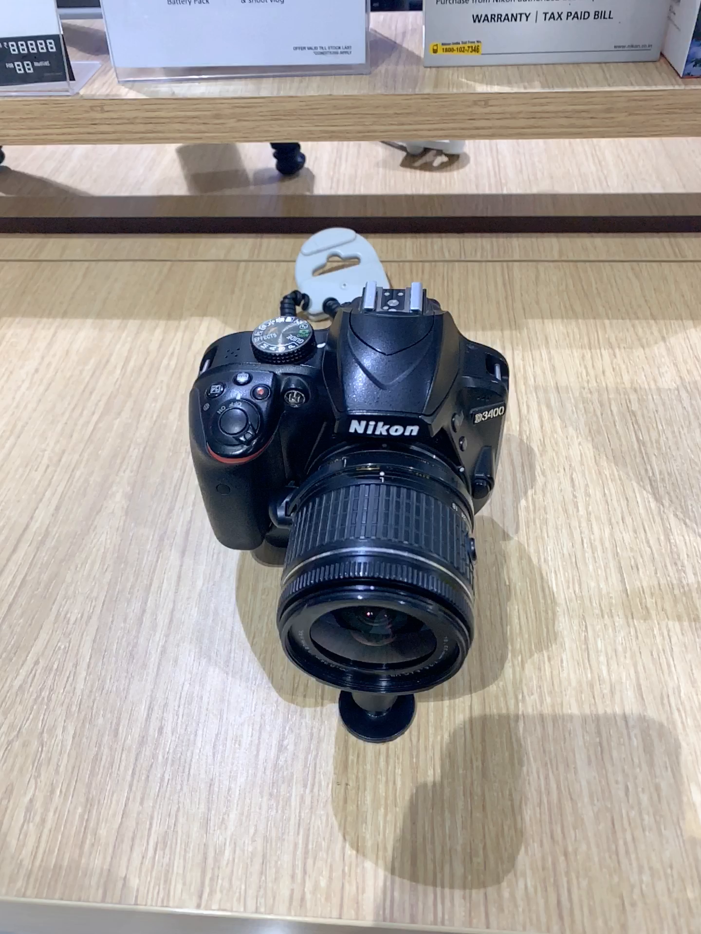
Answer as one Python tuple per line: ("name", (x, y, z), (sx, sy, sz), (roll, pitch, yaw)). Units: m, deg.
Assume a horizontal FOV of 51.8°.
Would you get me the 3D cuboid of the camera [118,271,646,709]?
("camera", (0.009, 0.004, 0.211), (0.110, 0.073, 0.100), (2, 47, 2))
